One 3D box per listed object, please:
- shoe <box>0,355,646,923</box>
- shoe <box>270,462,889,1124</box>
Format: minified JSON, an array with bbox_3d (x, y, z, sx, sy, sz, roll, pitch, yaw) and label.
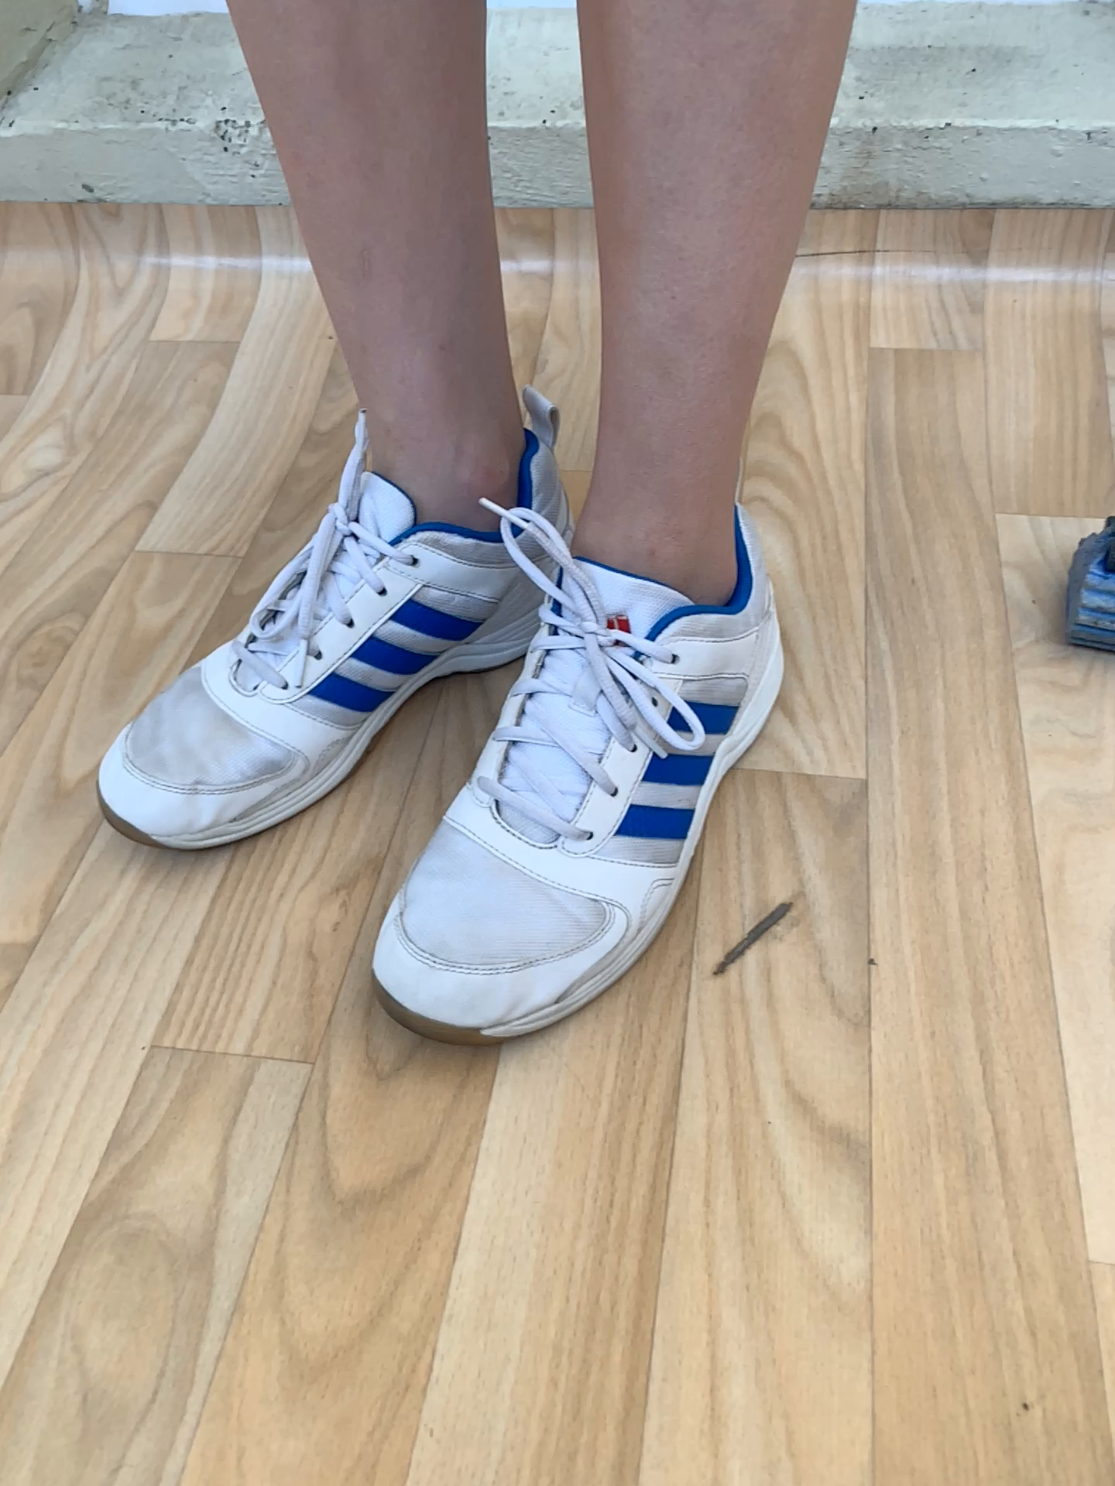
[{"bbox_3d":[-0.092,-0.055,0.515,0.260,0.119,0.100,-31,53,-23],"label":"shoe"},{"bbox_3d":[0.023,0.003,0.461,0.100,0.090,0.261,26,54,25],"label":"shoe"}]
